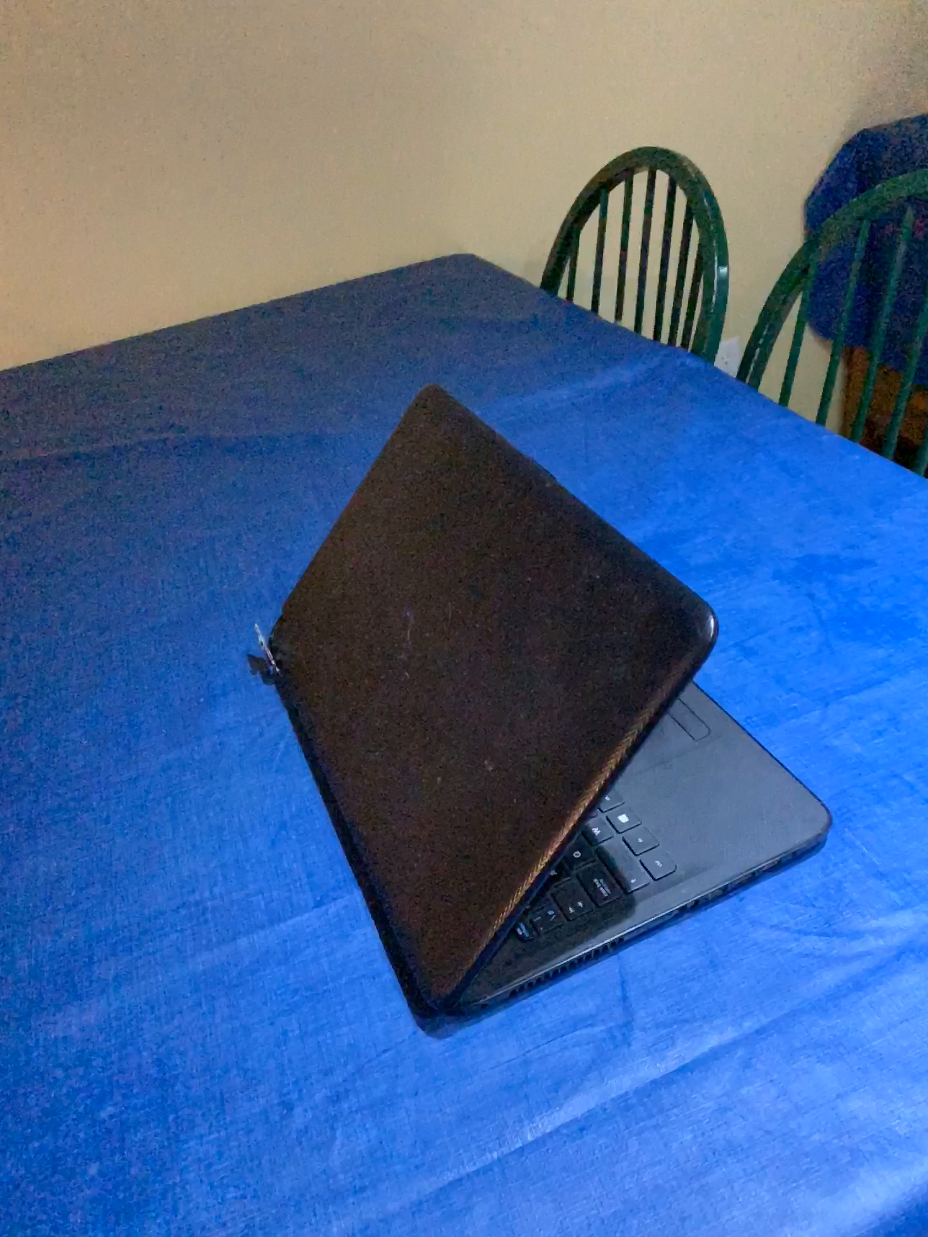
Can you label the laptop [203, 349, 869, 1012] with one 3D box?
[{"bbox_3d":[0.015,-0.006,0.602,0.252,0.167,0.373,-20,37,-15],"label":"laptop"}]
